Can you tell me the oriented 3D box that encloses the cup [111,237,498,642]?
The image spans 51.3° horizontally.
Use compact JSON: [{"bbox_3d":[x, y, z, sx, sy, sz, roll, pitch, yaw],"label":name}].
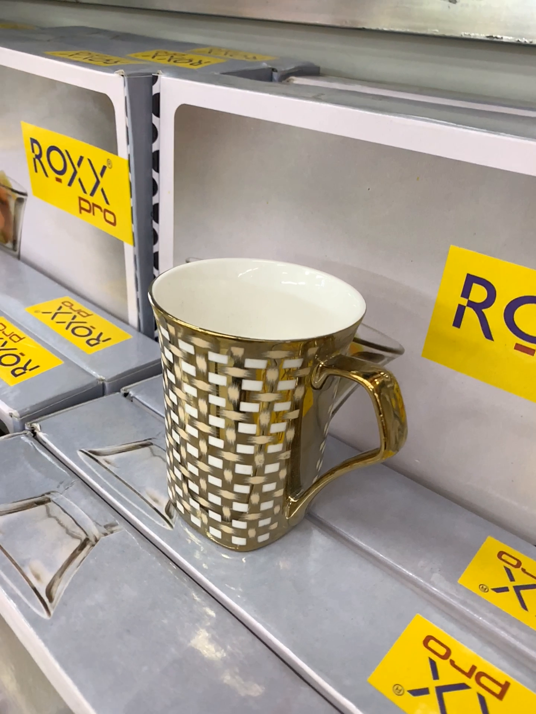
[{"bbox_3d":[0.007,0.019,0.222,0.113,0.092,0.083,29,37,35],"label":"cup"}]
